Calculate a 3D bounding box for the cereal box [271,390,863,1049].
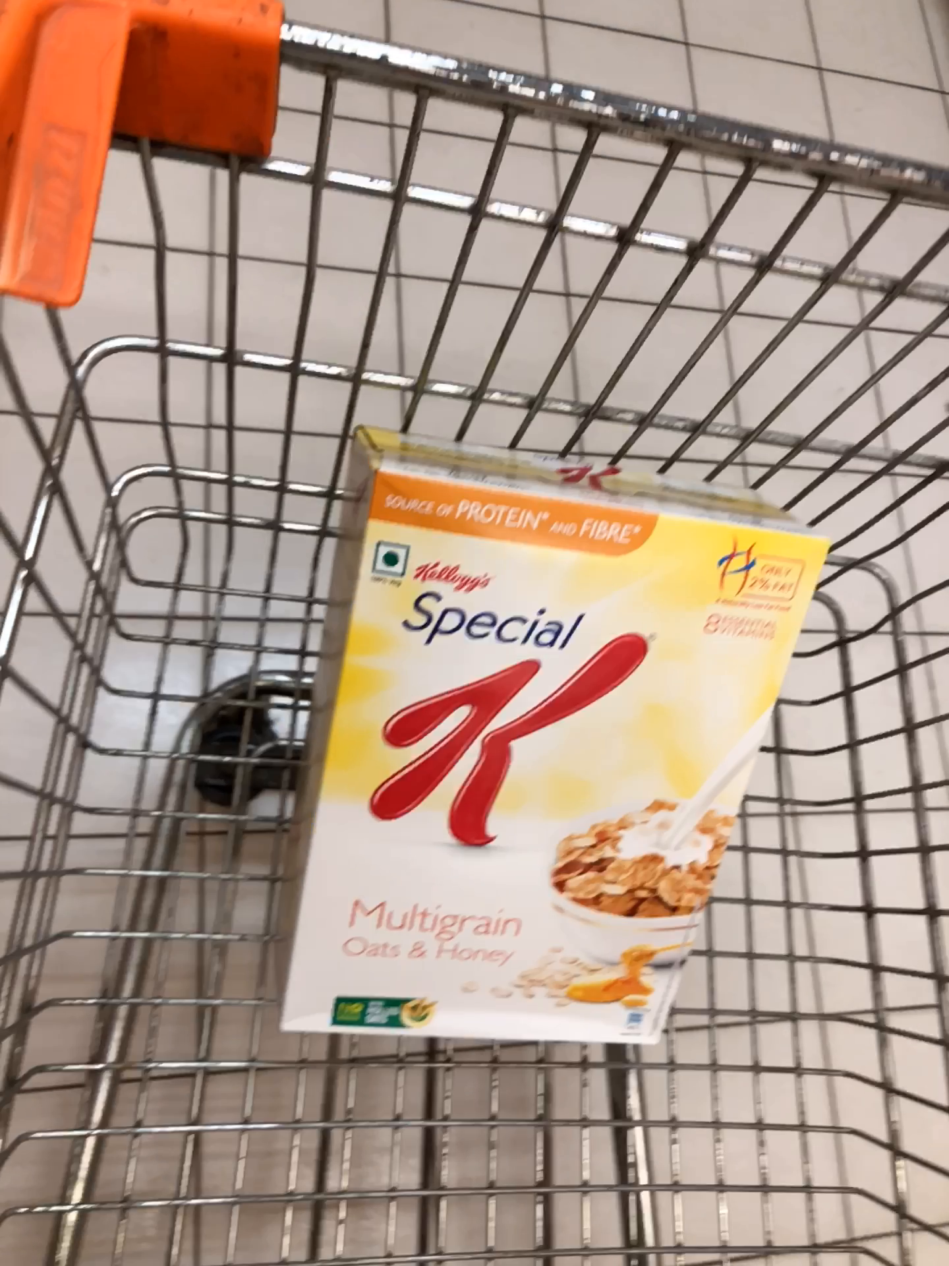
[{"bbox_3d":[0.023,0.050,0.475,0.190,0.090,0.269,7,113,-14],"label":"cereal box"}]
